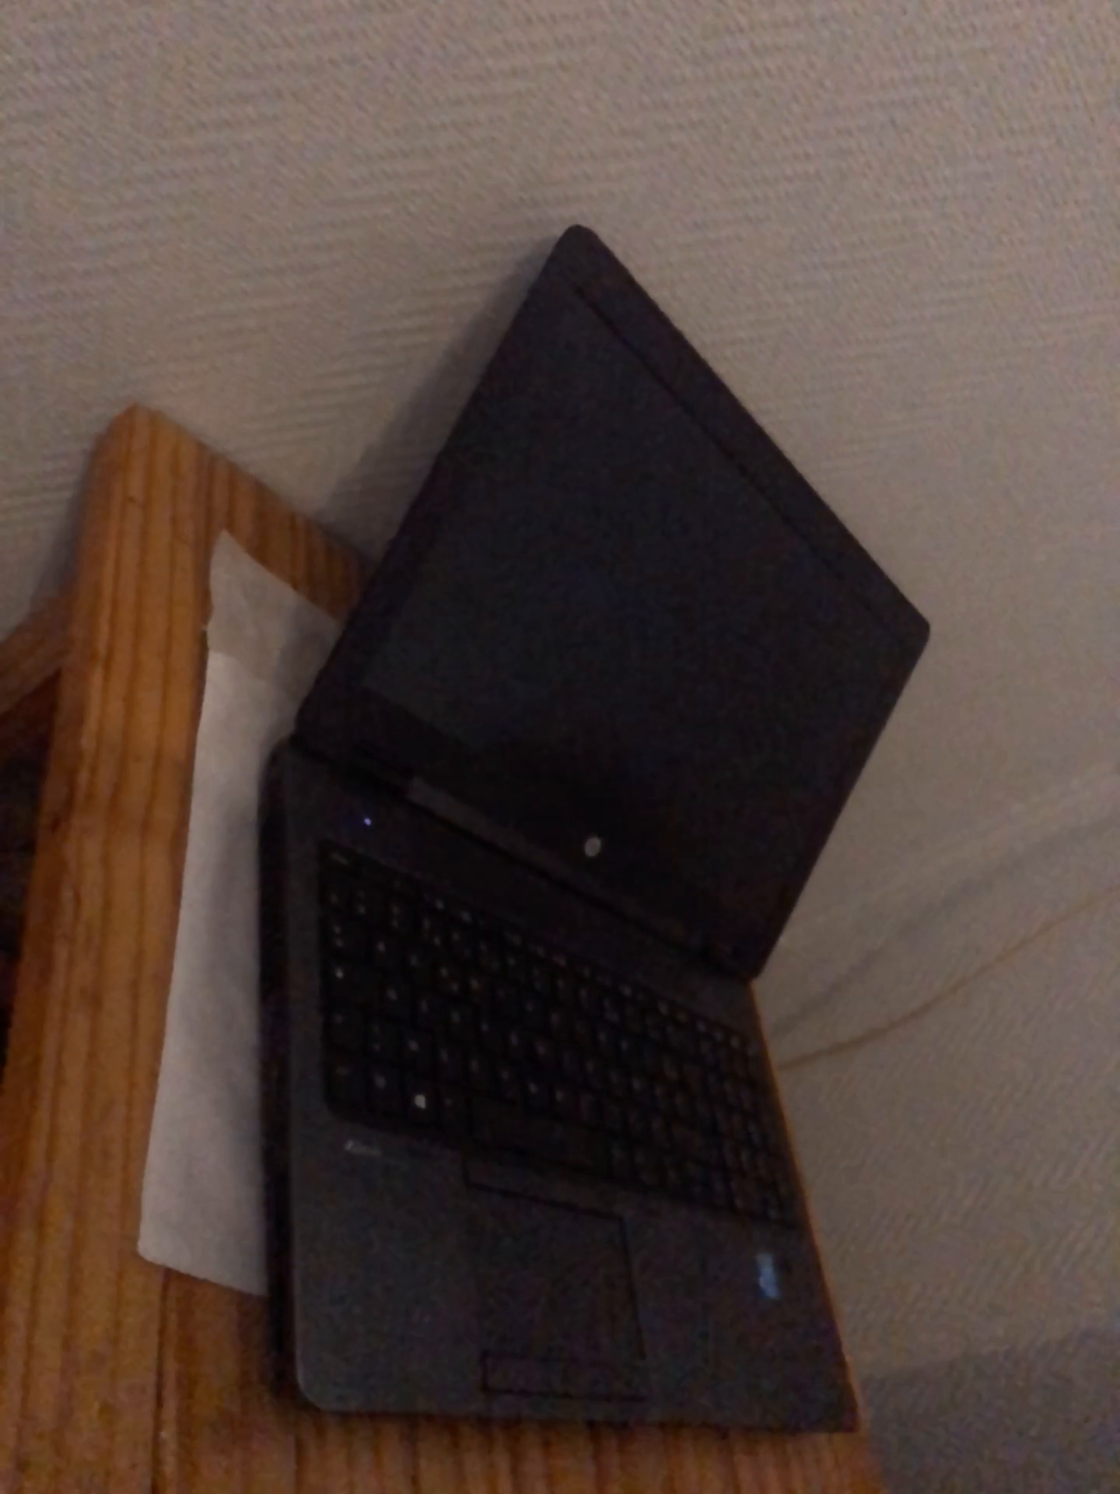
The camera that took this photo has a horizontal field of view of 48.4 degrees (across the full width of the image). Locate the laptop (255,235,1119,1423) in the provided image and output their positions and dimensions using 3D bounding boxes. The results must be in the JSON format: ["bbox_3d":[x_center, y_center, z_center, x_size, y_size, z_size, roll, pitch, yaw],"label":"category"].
[{"bbox_3d":[0.073,0.063,0.589,0.383,0.195,0.410,34,34,-44],"label":"laptop"}]
